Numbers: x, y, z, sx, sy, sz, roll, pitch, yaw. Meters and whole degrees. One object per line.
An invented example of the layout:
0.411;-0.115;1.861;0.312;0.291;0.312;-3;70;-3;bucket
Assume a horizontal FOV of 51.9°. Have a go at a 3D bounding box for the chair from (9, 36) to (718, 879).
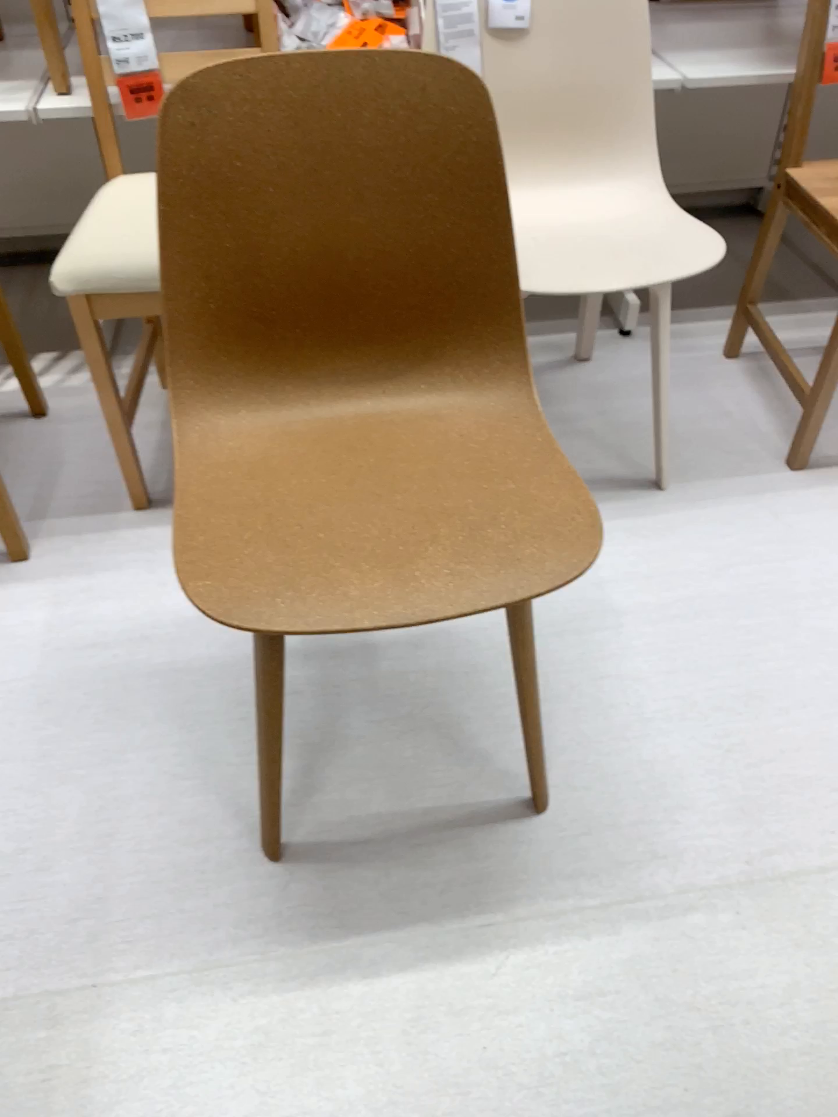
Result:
-0.074;-0.106;1.014;0.460;0.757;0.562;-7;44;-8;chair
